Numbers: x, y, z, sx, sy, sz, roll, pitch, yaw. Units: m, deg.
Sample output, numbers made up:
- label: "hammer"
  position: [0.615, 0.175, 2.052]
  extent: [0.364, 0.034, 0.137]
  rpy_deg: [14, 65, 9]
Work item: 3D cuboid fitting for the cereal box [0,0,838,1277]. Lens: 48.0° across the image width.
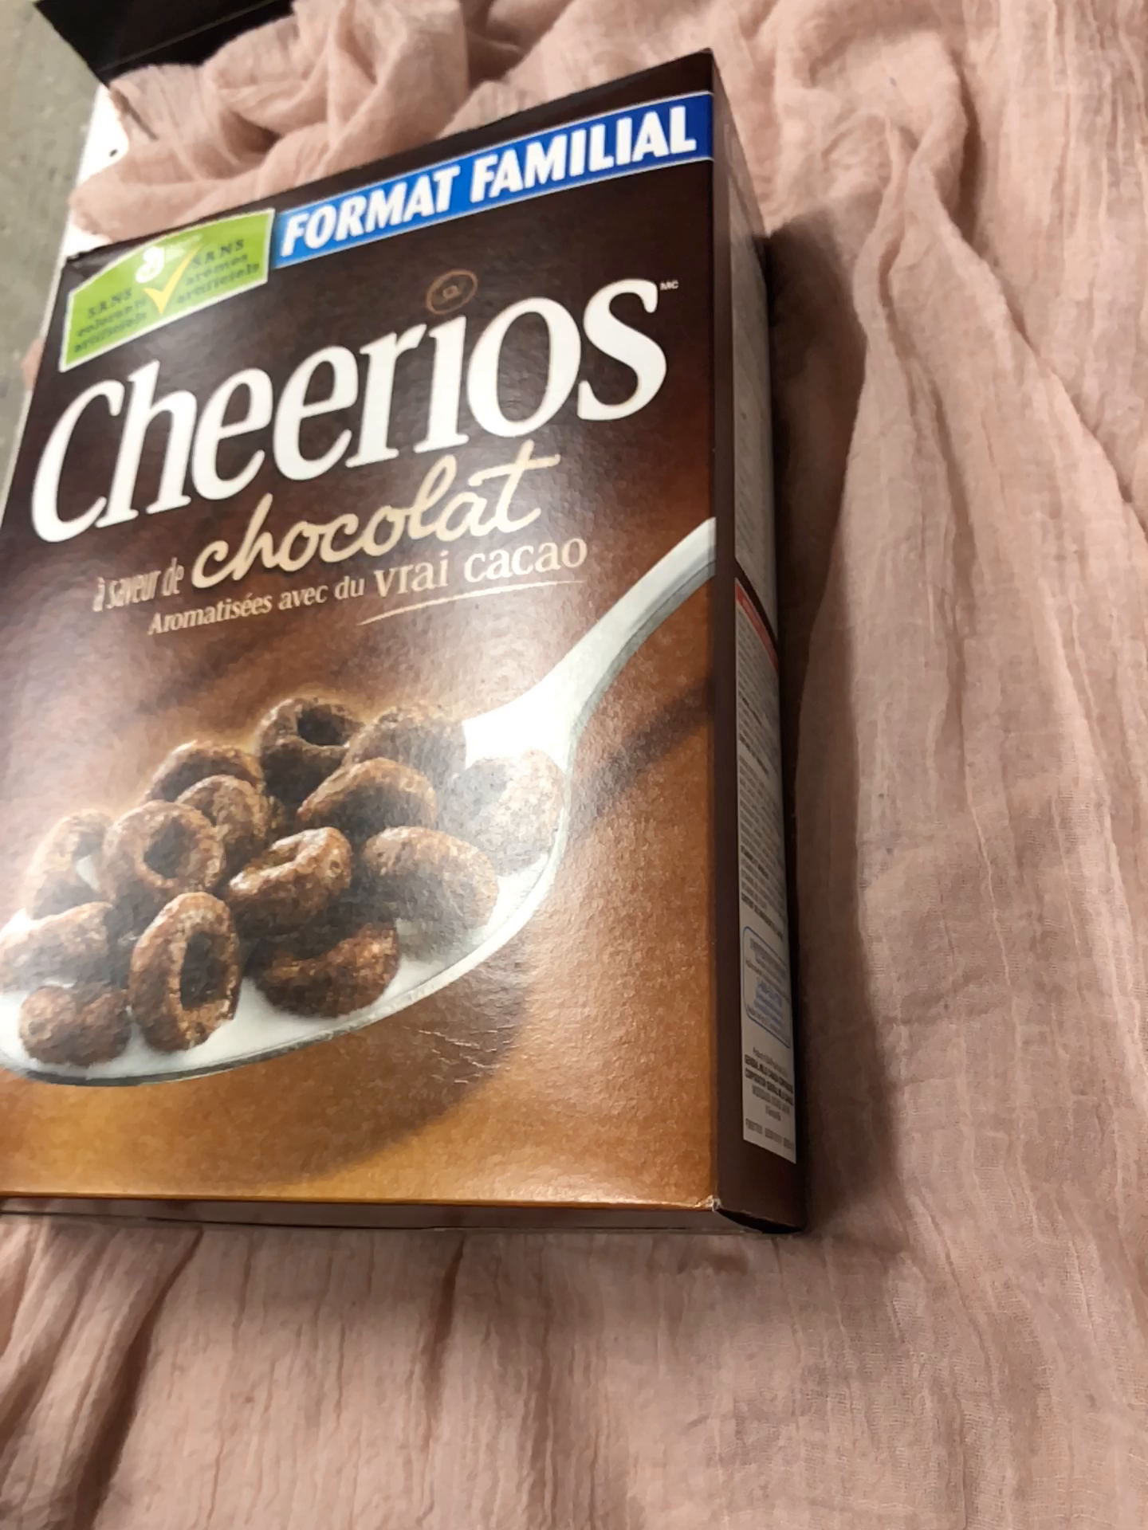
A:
- label: "cereal box"
  position: [-0.053, -0.037, 0.371]
  extent: [0.230, 0.090, 0.330]
  rpy_deg: [-7, 64, 22]
